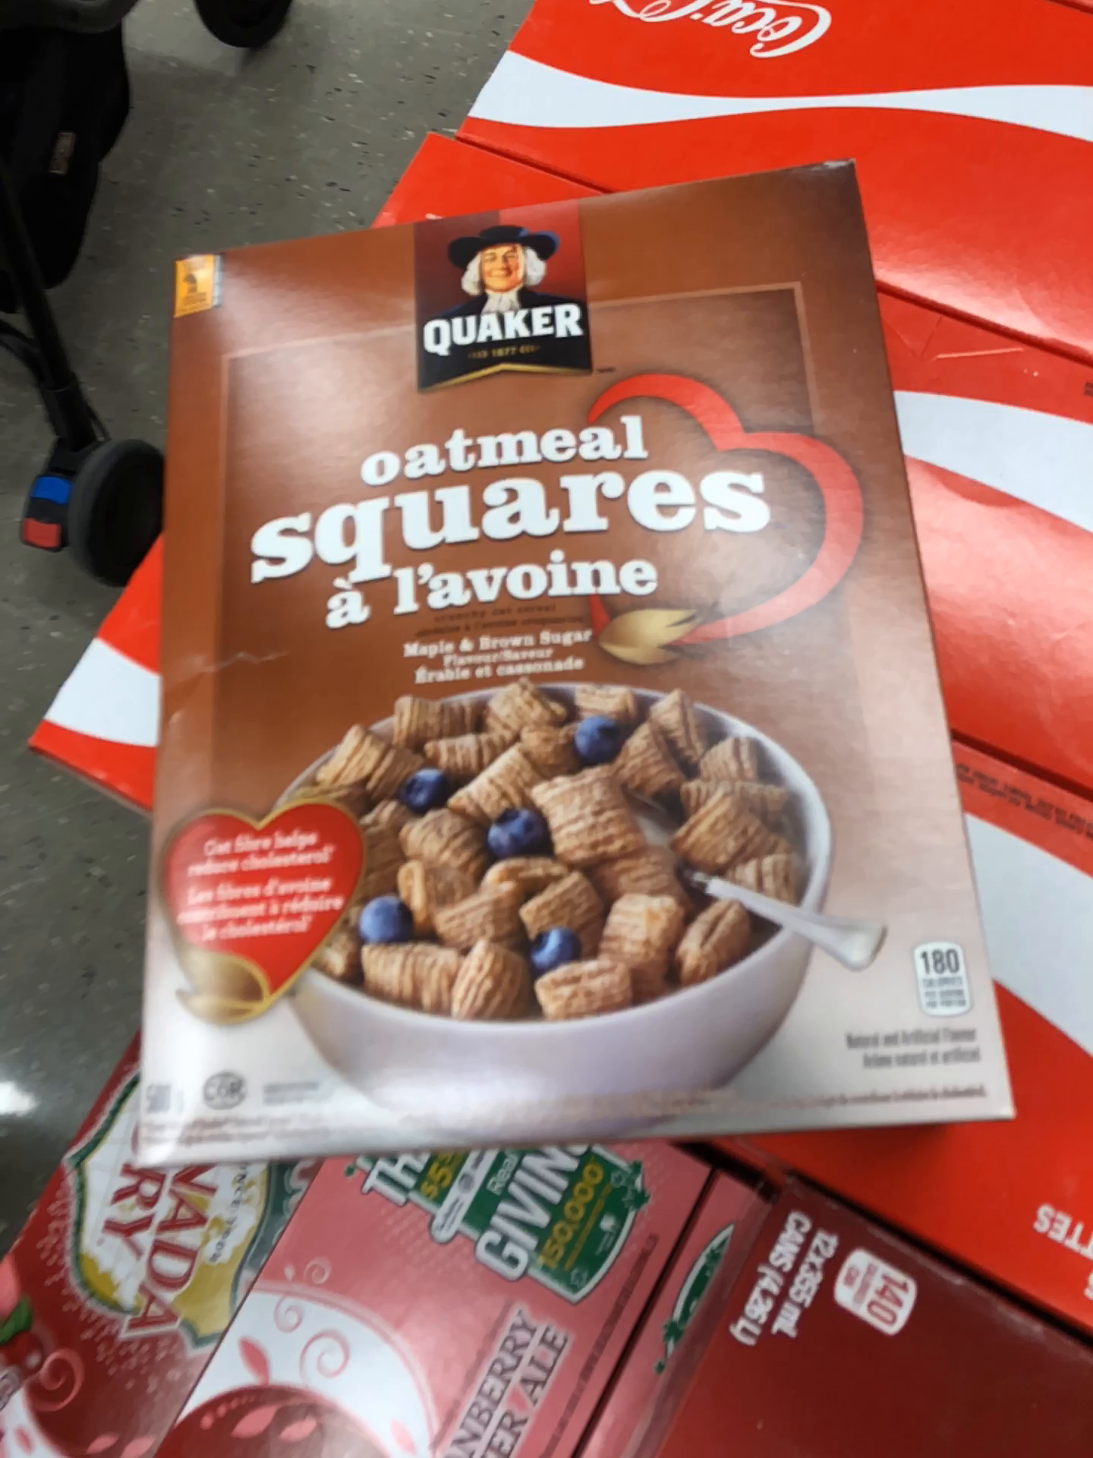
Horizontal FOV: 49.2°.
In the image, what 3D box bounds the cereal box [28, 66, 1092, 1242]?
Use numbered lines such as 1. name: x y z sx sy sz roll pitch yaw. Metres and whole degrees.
1. cereal box: -0.004 -0.027 0.324 0.240 0.050 0.290 -5 73 5
